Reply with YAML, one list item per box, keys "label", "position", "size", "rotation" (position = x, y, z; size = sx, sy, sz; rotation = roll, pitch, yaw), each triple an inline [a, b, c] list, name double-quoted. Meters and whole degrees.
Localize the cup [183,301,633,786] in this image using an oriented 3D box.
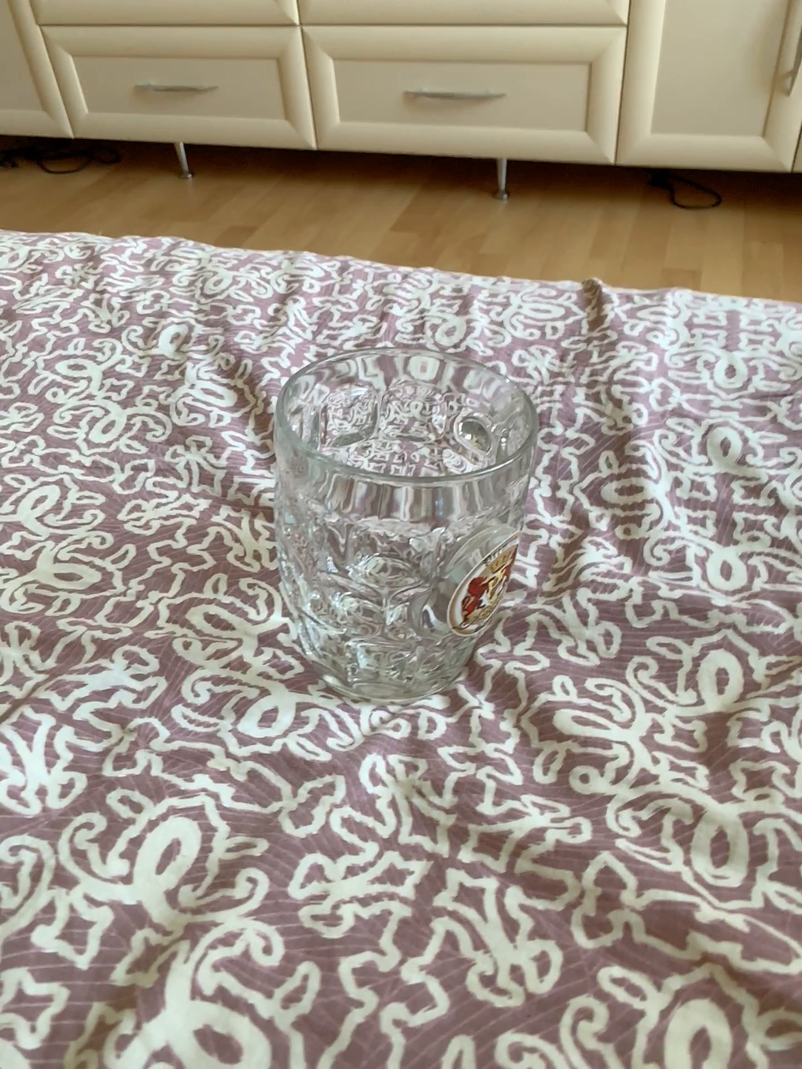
- label: "cup"
  position: [0.005, -0.005, 0.294]
  size: [0.093, 0.099, 0.118]
  rotation: [26, 44, 25]
